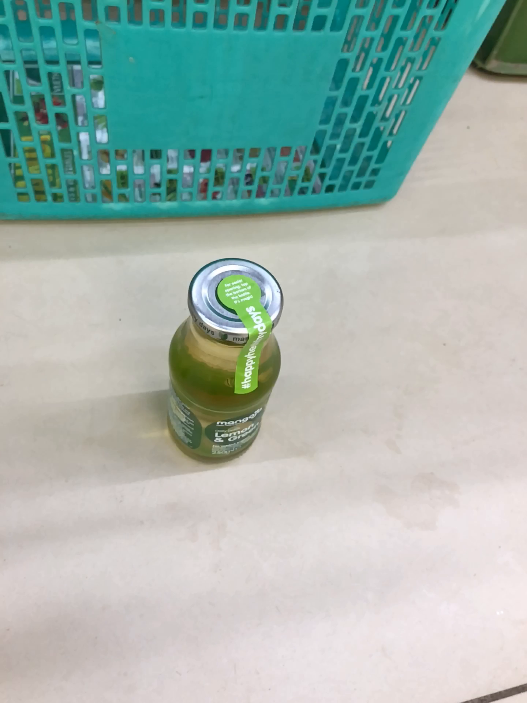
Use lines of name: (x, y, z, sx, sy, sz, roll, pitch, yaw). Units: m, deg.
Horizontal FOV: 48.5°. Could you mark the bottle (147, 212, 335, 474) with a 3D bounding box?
bottle: (-0.023, 0.003, 0.340, 0.070, 0.149, 0.070, 5, 58, -7)
